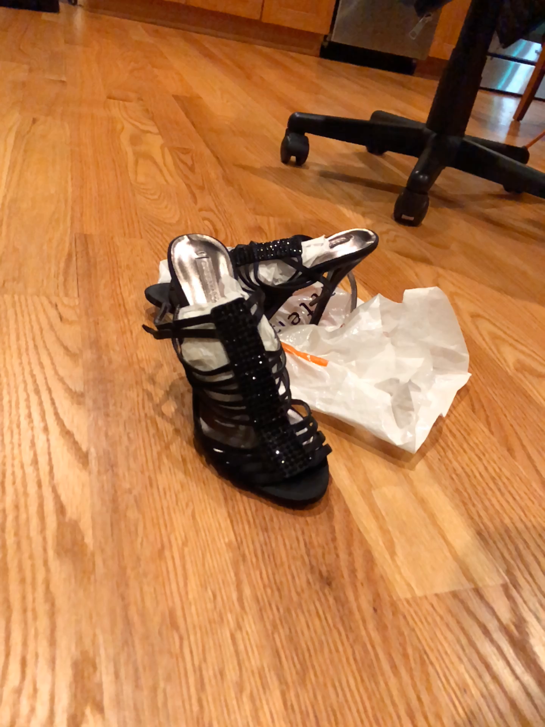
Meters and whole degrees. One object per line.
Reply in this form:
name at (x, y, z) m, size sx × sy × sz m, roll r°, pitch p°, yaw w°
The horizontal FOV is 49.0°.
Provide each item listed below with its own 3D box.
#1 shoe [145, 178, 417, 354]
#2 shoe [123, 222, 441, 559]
shoe at (-0.001, -0.086, 0.549) m, size 0.217 × 0.112 × 0.092 m, roll 3°, pitch 32°, yaw -16°
shoe at (-0.013, 0.000, 0.408) m, size 0.090 × 0.112 × 0.218 m, roll -12°, pitch 39°, yaw -34°
